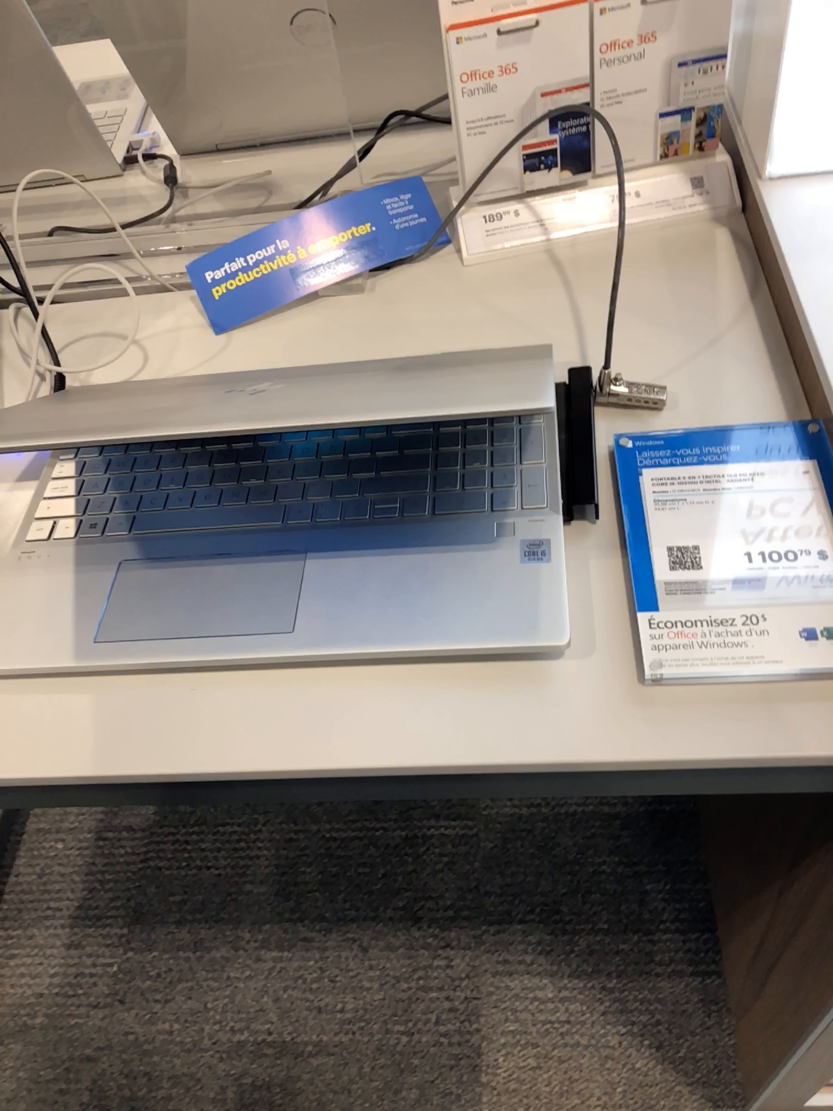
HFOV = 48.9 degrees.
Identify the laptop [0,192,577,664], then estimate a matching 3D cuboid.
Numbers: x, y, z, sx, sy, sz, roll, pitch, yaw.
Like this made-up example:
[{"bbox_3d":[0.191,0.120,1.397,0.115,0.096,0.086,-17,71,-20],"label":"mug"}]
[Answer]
[{"bbox_3d":[-0.091,-0.071,0.526,0.346,0.116,0.230,-3,52,10],"label":"laptop"}]
